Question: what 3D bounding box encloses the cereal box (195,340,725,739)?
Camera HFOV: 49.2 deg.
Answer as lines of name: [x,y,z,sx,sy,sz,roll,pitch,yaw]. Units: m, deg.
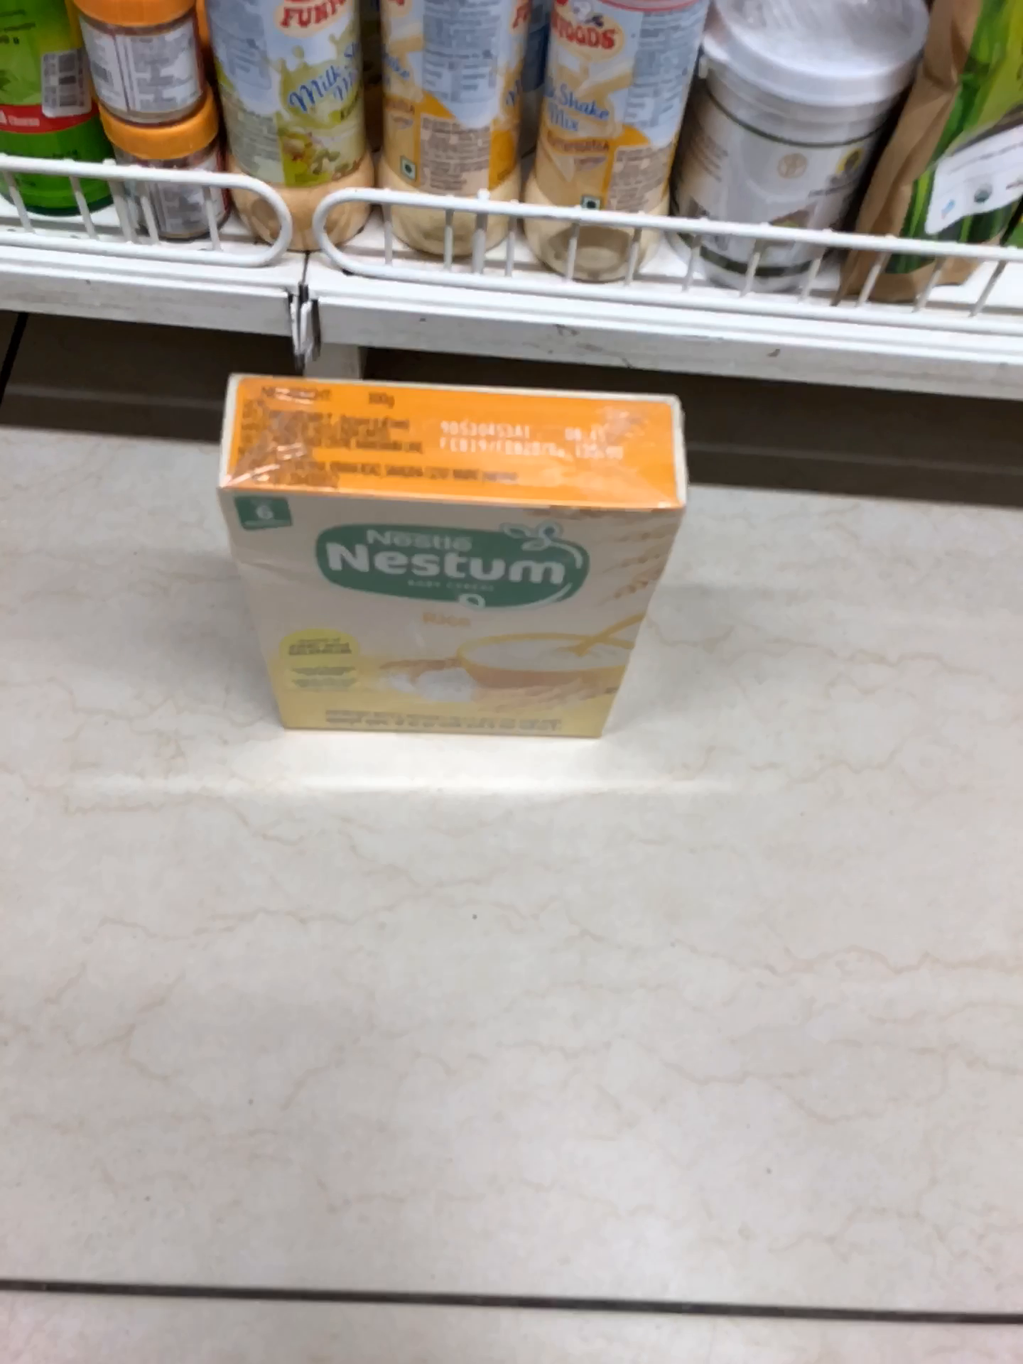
cereal box: [-0.021,-0.041,0.433,0.160,0.189,0.050,2,63,-4]
